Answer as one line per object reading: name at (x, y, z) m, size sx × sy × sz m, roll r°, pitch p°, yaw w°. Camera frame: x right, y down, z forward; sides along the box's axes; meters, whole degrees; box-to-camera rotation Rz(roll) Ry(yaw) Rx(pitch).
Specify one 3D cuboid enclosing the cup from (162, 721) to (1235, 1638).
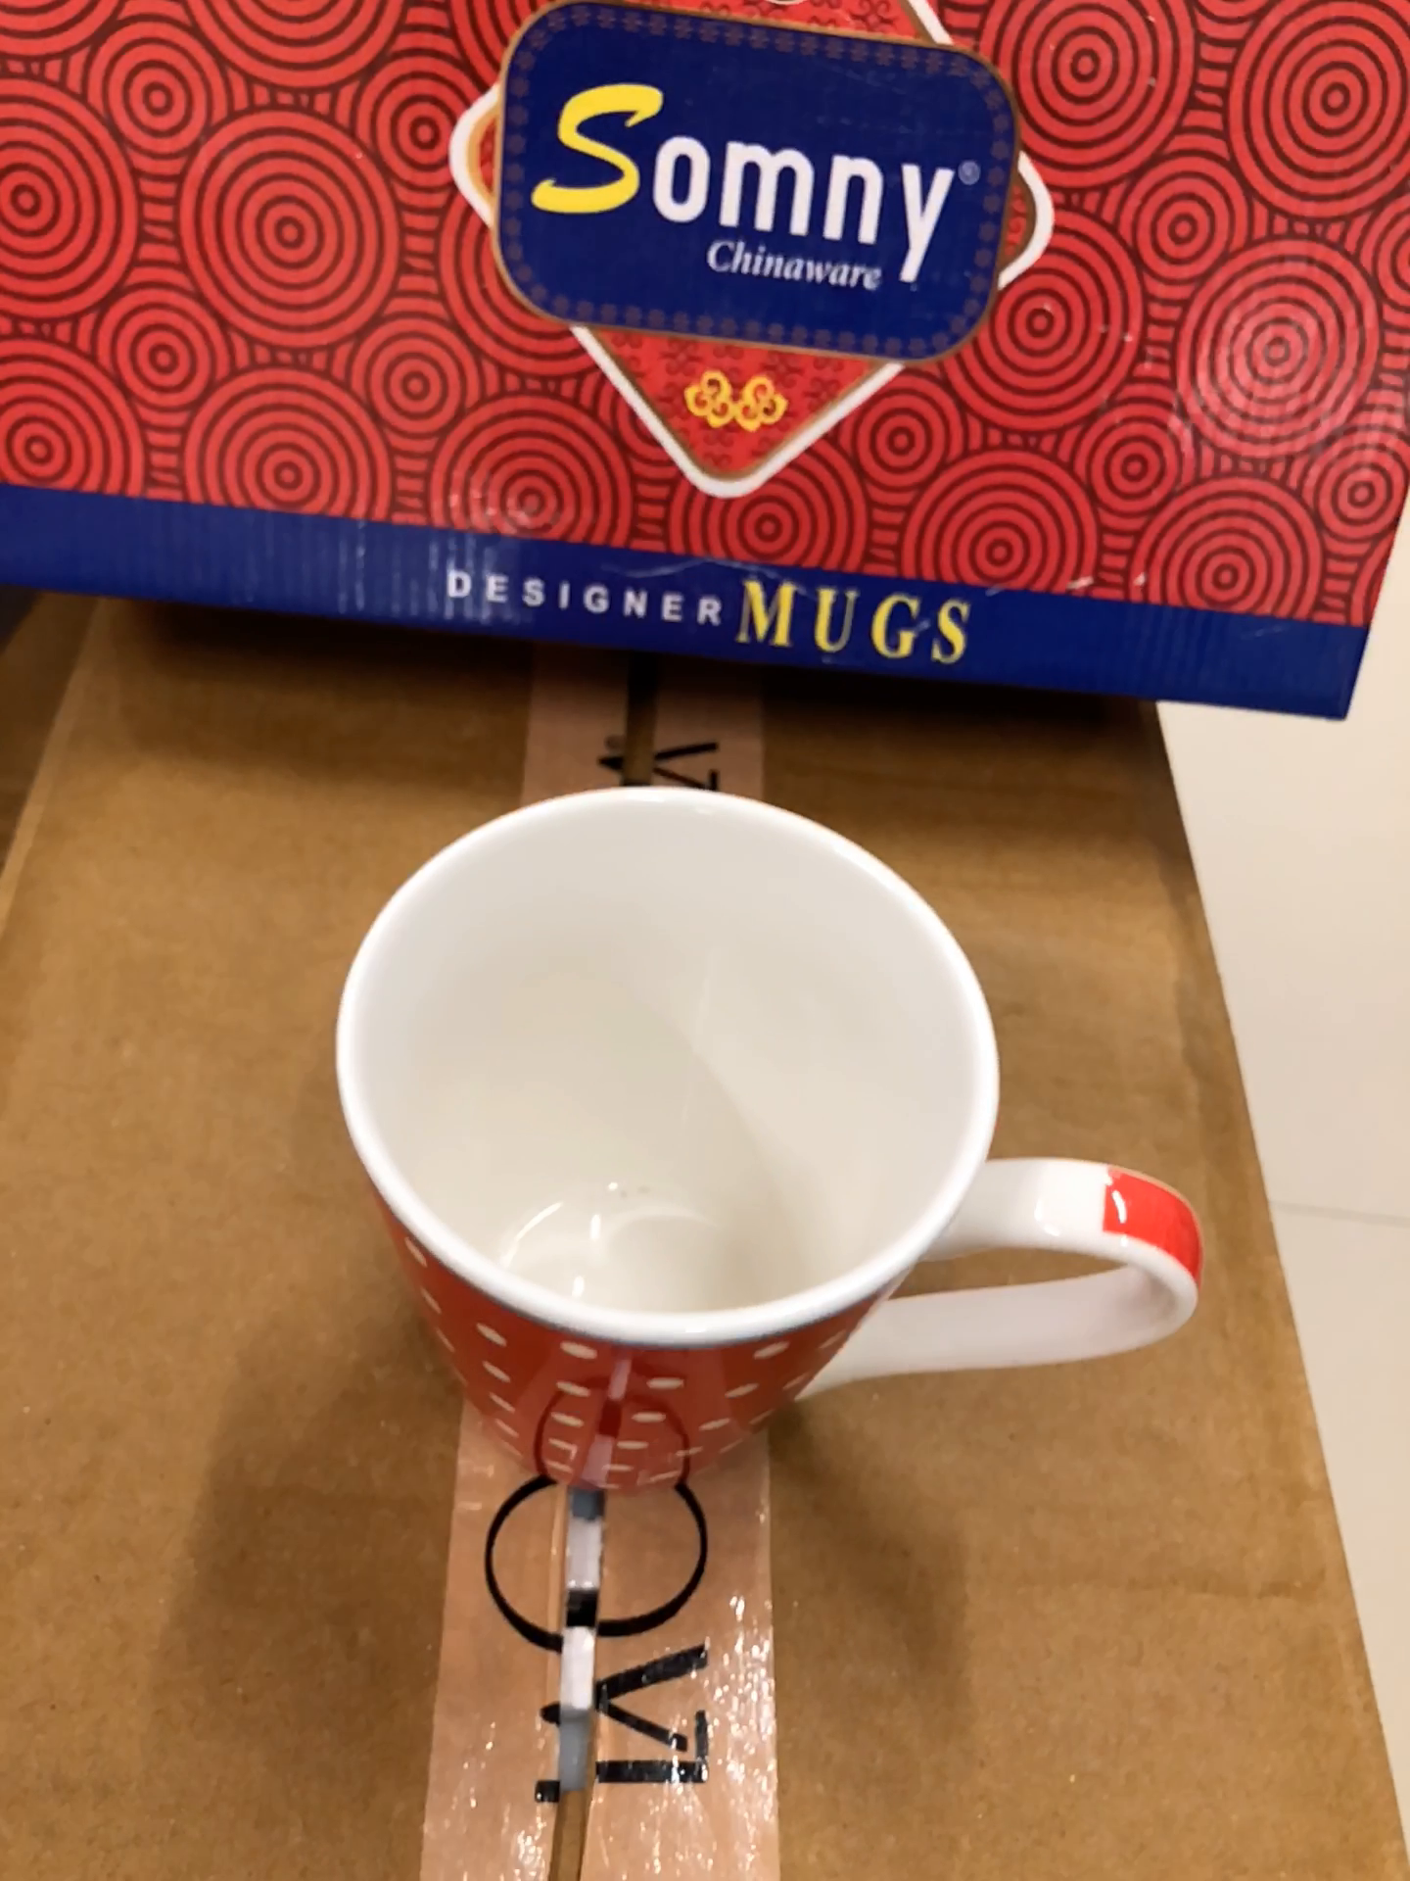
cup at (0.000, 0.039, 0.234) m, size 0.120 × 0.090 × 0.080 m, roll 11°, pitch 52°, yaw -1°
